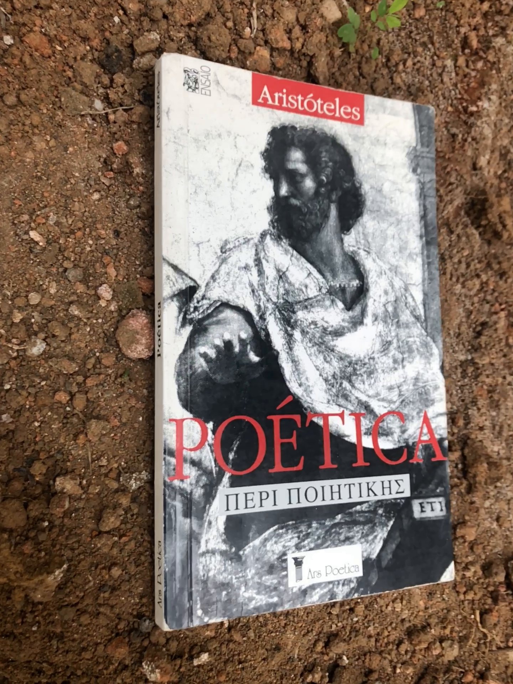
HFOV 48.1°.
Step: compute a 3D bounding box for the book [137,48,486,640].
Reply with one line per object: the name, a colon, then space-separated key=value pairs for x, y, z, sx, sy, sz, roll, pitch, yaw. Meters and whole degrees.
book: x=0.023 y=-0.002 z=0.212 sx=0.130 sy=0.015 sz=0.189 roll=1 pitch=85 yaw=-20
